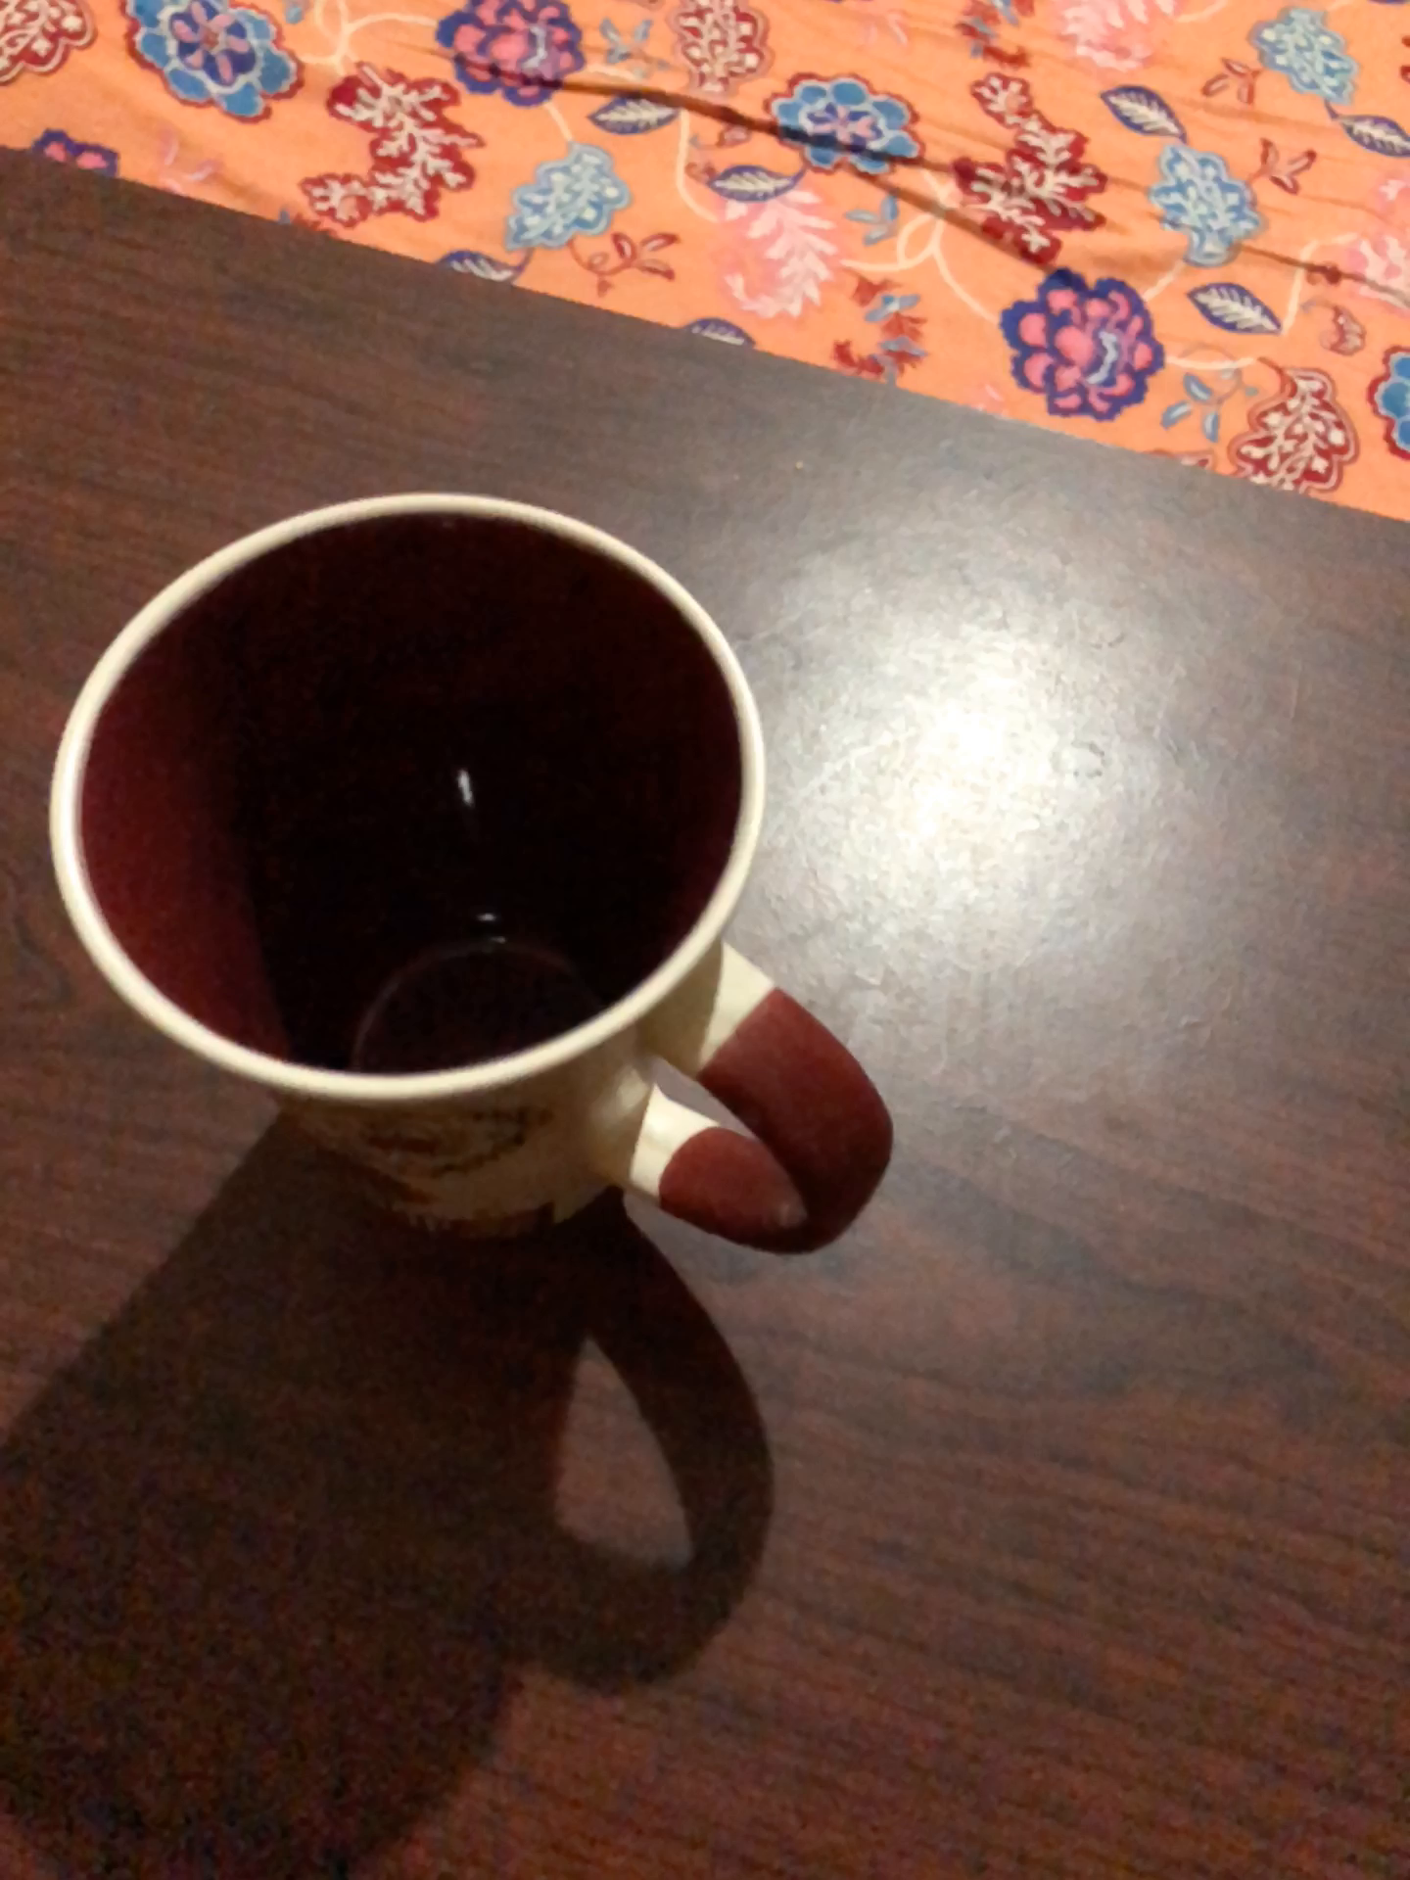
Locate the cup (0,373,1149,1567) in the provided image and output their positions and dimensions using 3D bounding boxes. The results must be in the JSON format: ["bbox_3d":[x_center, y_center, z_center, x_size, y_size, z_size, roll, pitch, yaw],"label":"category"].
[{"bbox_3d":[-0.024,0.008,0.237,0.120,0.100,0.100,35,66,14],"label":"cup"}]
